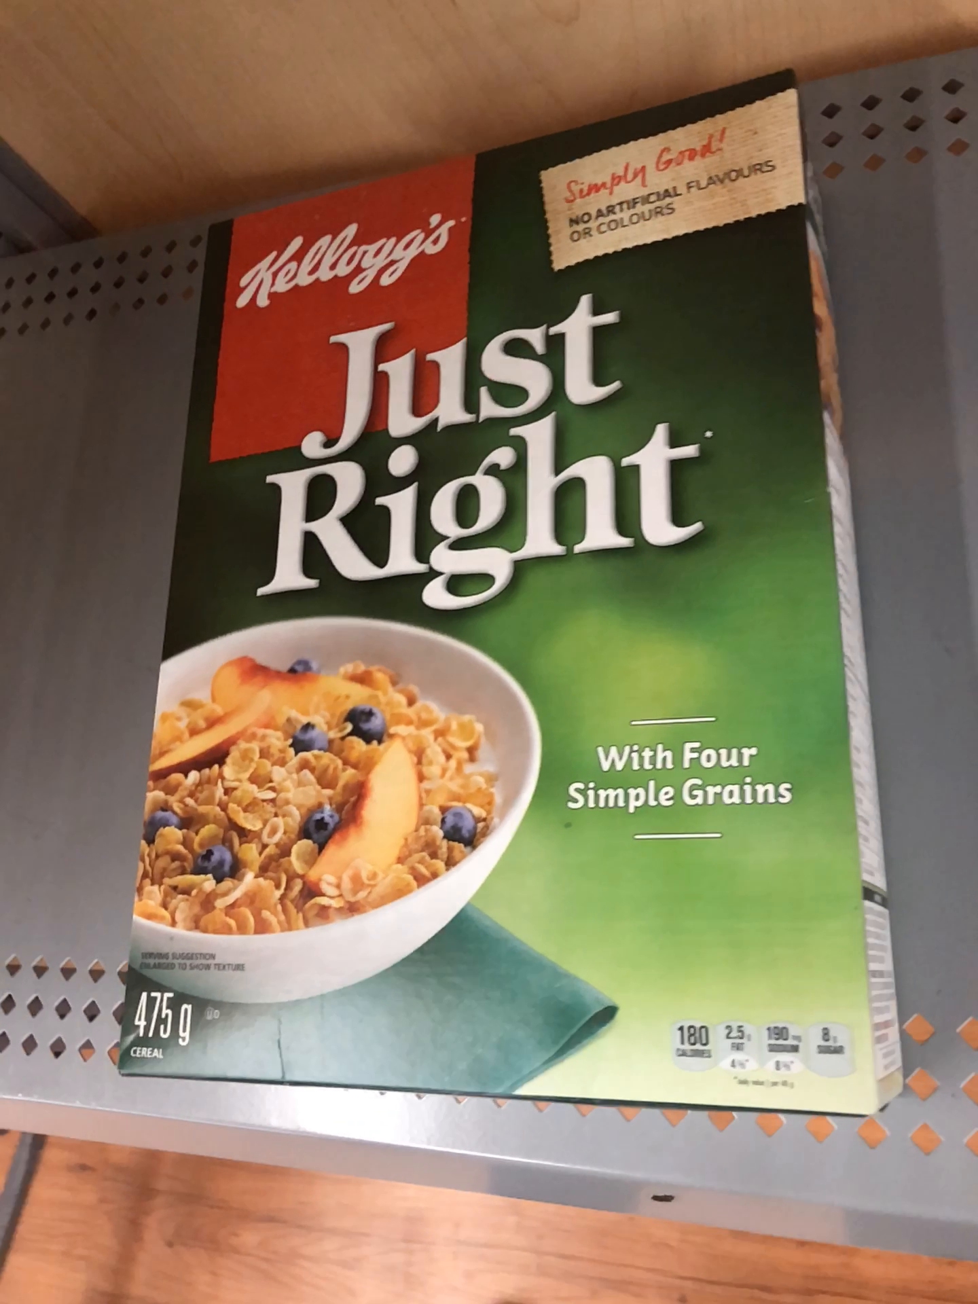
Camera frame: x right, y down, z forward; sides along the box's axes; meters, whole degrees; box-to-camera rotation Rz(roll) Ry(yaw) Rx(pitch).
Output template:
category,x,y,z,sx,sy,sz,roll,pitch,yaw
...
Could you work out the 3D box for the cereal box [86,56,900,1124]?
category,x,y,z,sx,sy,sz,roll,pitch,yaw
cereal box,0.000,-0.017,0.317,0.200,0.060,0.271,-6,71,20
